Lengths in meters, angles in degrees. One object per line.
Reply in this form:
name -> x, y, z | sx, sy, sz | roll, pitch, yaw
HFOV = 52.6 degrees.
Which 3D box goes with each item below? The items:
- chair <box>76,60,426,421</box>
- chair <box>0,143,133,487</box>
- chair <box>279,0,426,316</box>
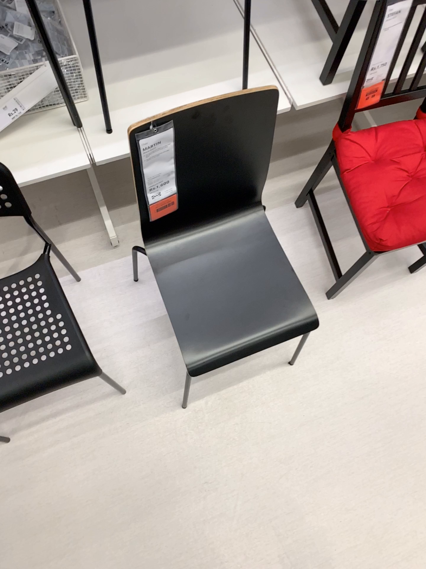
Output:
chair -> 0.025, -0.017, 1.213 | 0.480, 0.830, 0.590 | -19, 73, -11
chair -> -0.560, 0.132, 1.145 | 0.470, 0.730, 0.530 | -20, 73, -12
chair -> 0.589, -0.314, 1.283 | 0.450, 0.860, 0.480 | -18, 73, -11
